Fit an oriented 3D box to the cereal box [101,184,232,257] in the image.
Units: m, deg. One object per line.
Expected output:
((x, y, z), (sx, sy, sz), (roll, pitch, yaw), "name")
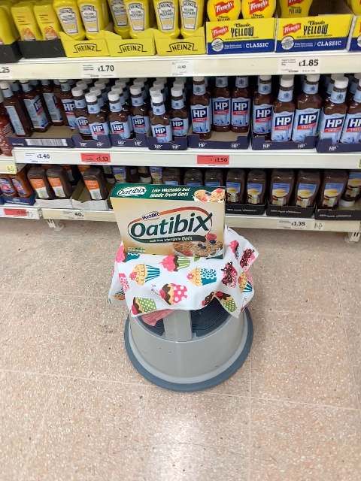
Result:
((-0.024, -0.045, 0.862), (0.280, 0.169, 0.061), (2, 47, 9), "cereal box")
